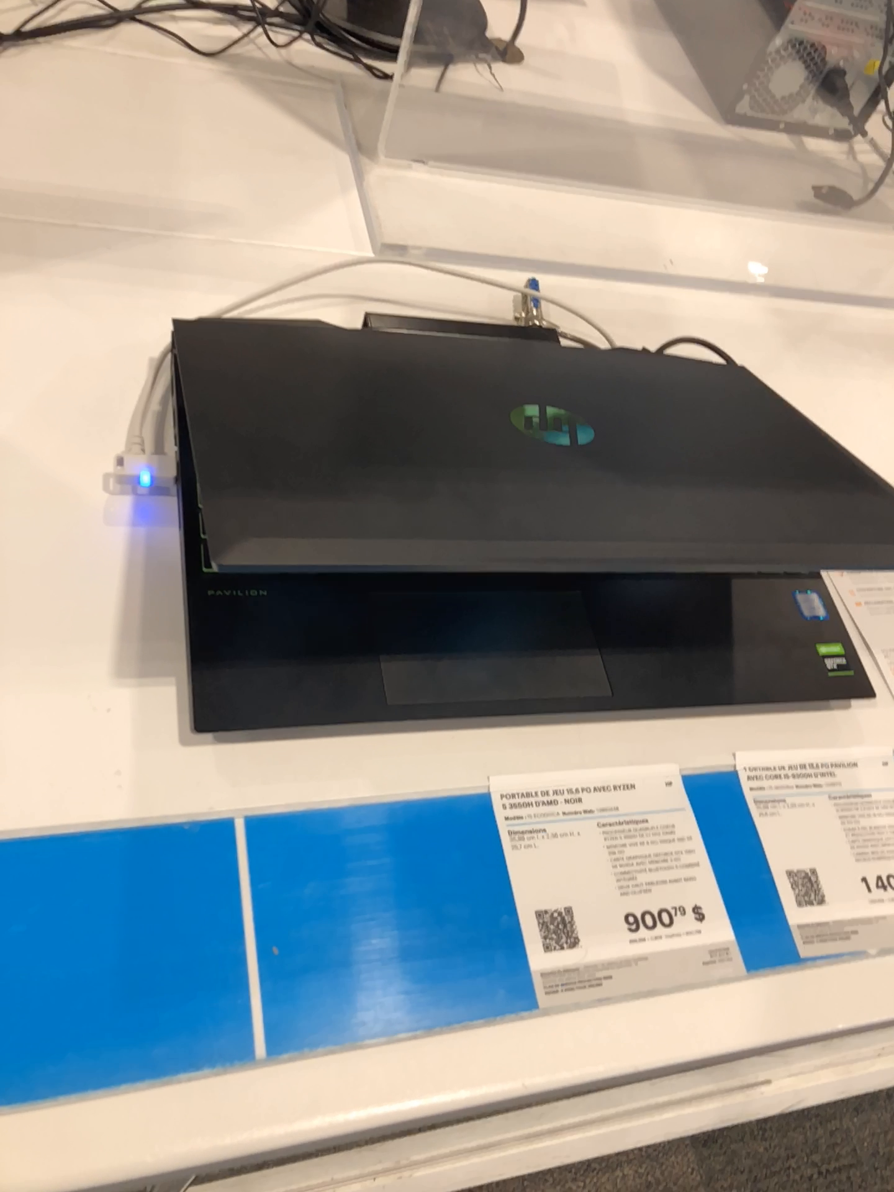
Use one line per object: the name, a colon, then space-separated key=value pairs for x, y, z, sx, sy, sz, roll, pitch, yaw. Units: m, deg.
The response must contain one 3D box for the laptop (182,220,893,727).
laptop: x=0.048 y=-0.064 z=0.494 sx=0.339 sy=0.064 sz=0.221 roll=-1 pitch=62 yaw=-20
